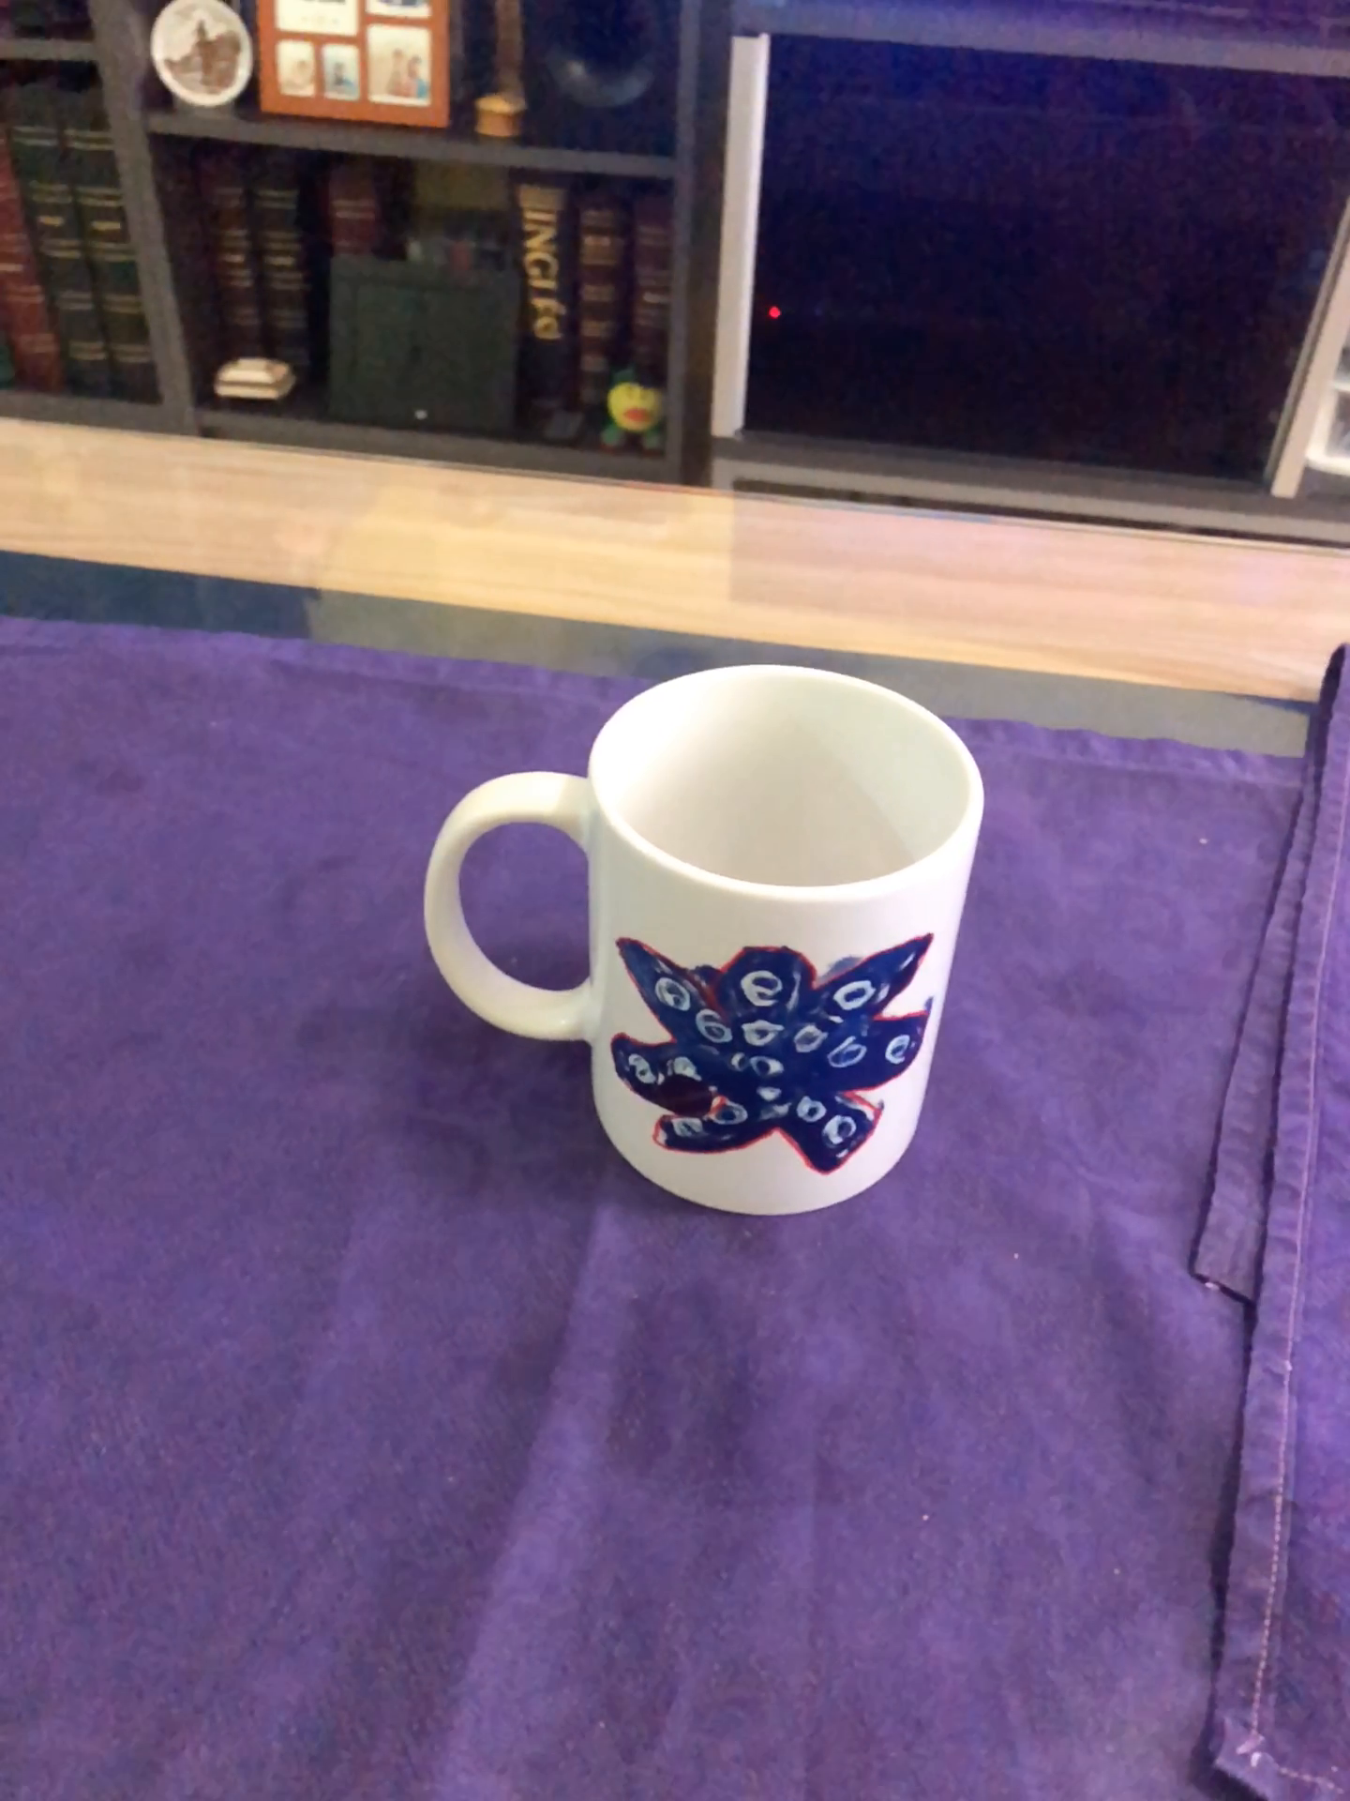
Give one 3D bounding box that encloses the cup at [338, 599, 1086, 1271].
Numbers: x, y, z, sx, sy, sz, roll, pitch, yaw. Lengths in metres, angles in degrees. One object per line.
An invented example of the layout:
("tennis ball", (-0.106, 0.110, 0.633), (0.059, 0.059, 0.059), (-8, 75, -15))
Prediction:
("cup", (0.010, 0.004, 0.321), (0.130, 0.090, 0.080), (11, 41, 10))
